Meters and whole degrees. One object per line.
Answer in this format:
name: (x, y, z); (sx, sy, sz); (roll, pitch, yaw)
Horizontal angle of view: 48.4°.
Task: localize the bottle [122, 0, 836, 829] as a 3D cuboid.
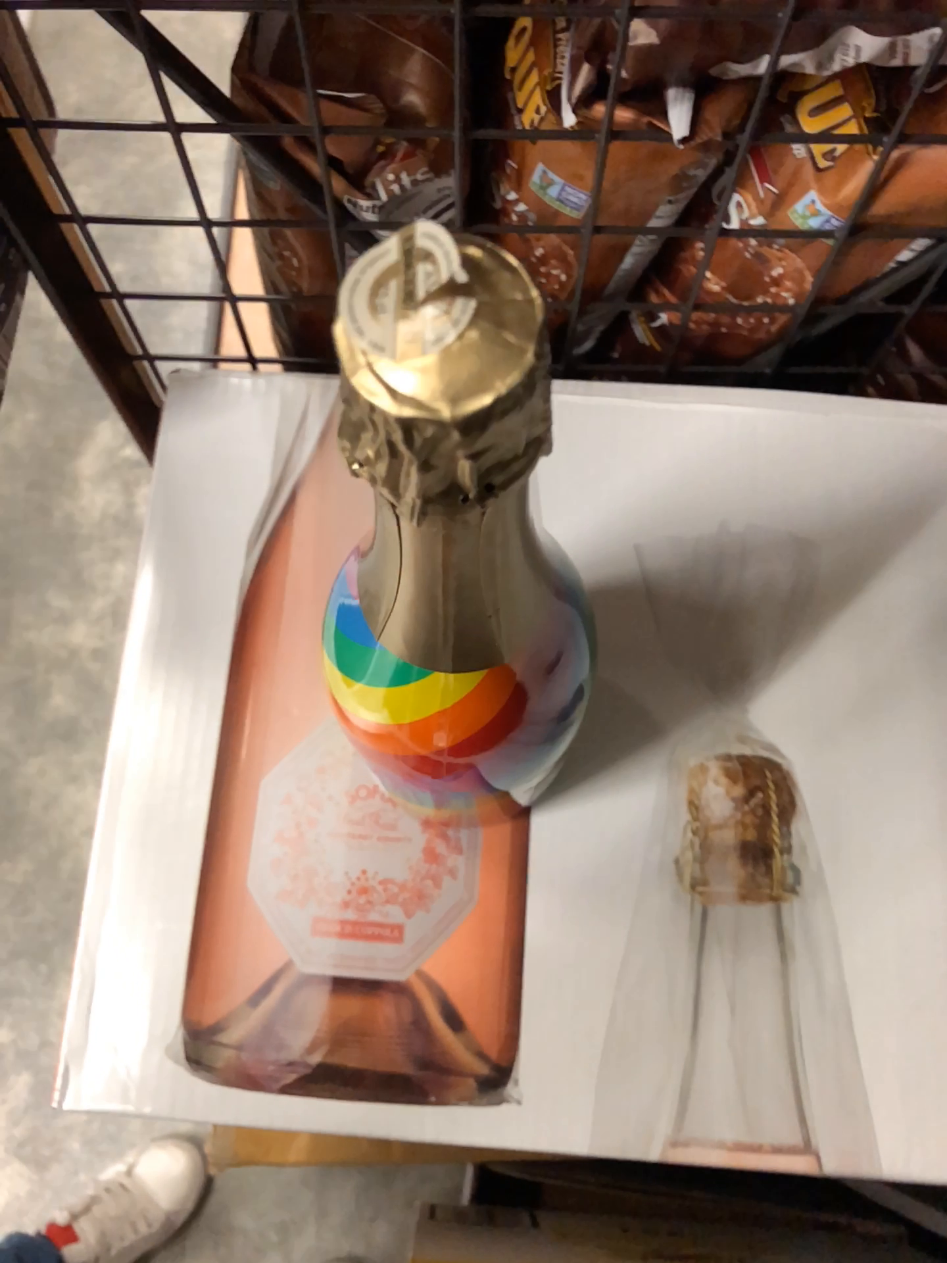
bottle: (0.003, -0.014, 0.295); (0.088, 0.321, 0.088); (0, 72, -1)
